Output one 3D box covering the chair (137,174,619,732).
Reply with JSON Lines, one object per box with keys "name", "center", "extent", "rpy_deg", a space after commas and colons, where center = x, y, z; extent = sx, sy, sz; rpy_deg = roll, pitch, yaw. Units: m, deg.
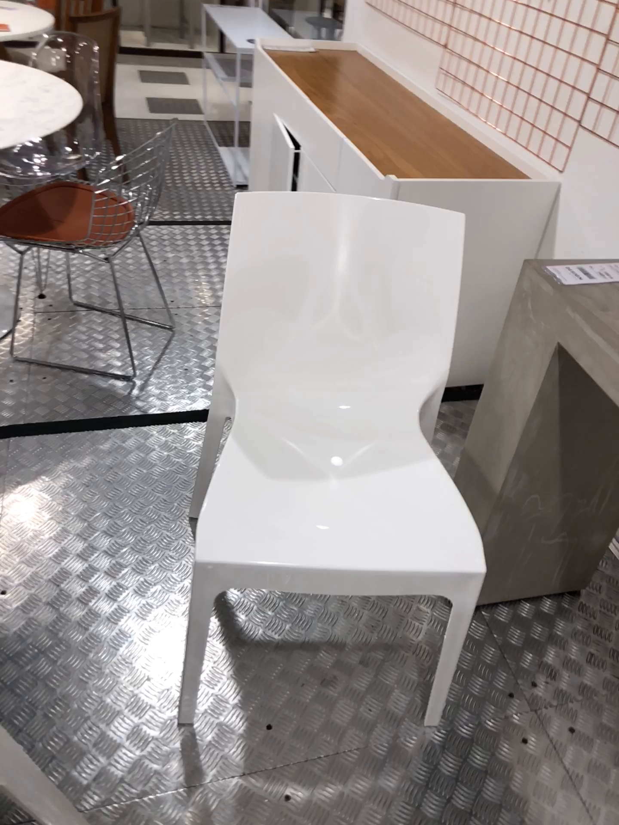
{"name": "chair", "center": [0.034, 0.088, 1.165], "extent": [0.520, 0.764, 0.544], "rpy_deg": [3, 38, -5]}
